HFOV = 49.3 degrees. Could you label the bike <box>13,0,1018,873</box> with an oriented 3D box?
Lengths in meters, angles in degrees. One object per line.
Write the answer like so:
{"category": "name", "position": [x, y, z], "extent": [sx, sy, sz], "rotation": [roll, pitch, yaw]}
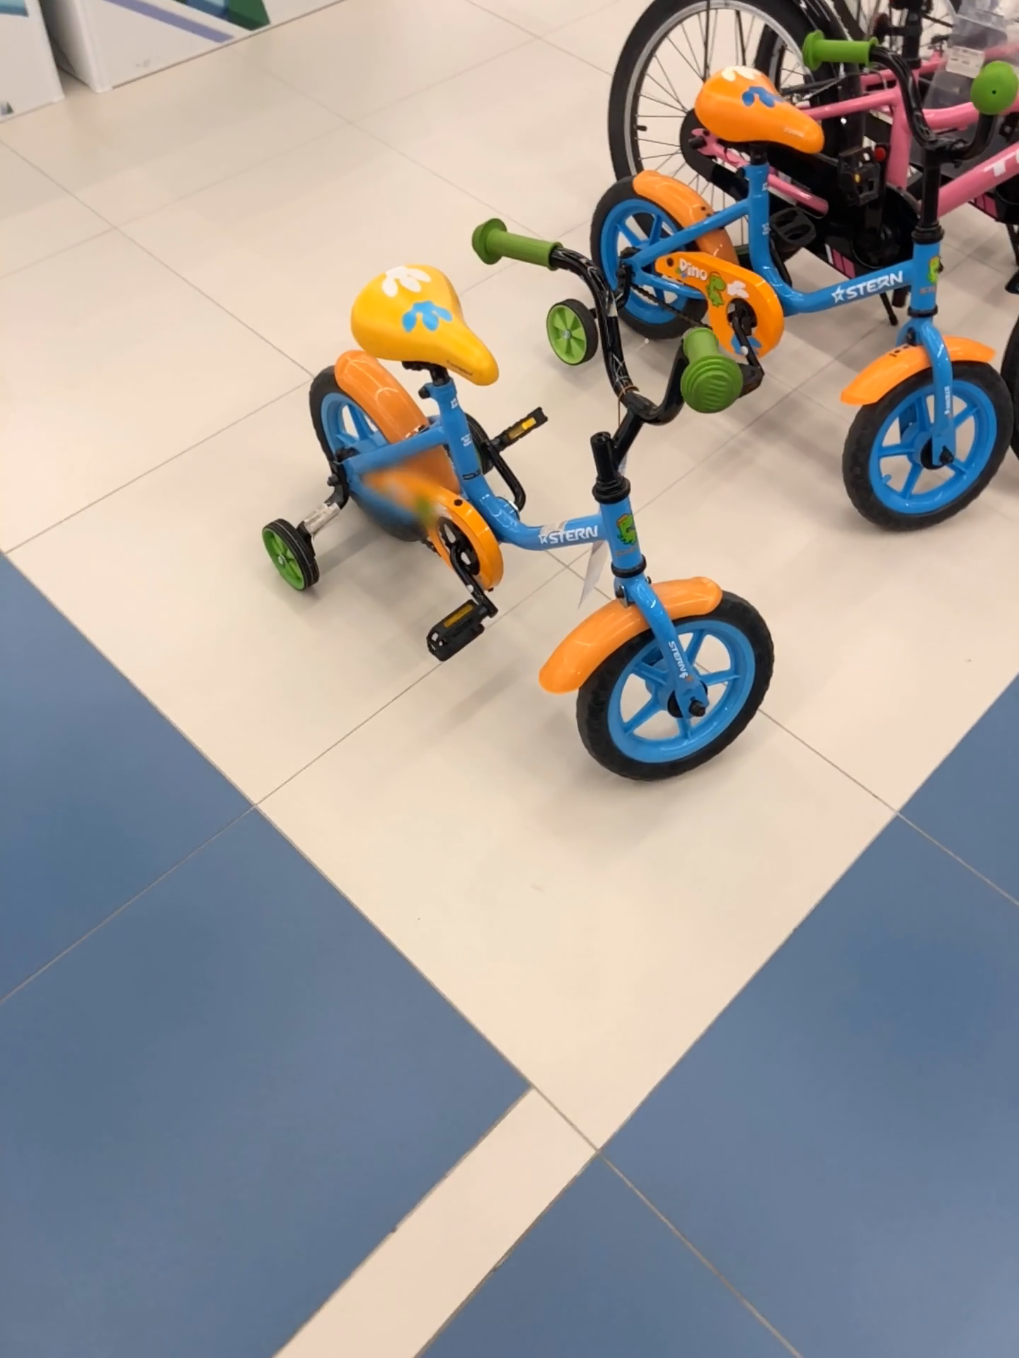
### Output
{"category": "bike", "position": [0.006, -0.310, 1.353], "extent": [0.751, 0.682, 0.566], "rotation": [31, 58, 18]}
